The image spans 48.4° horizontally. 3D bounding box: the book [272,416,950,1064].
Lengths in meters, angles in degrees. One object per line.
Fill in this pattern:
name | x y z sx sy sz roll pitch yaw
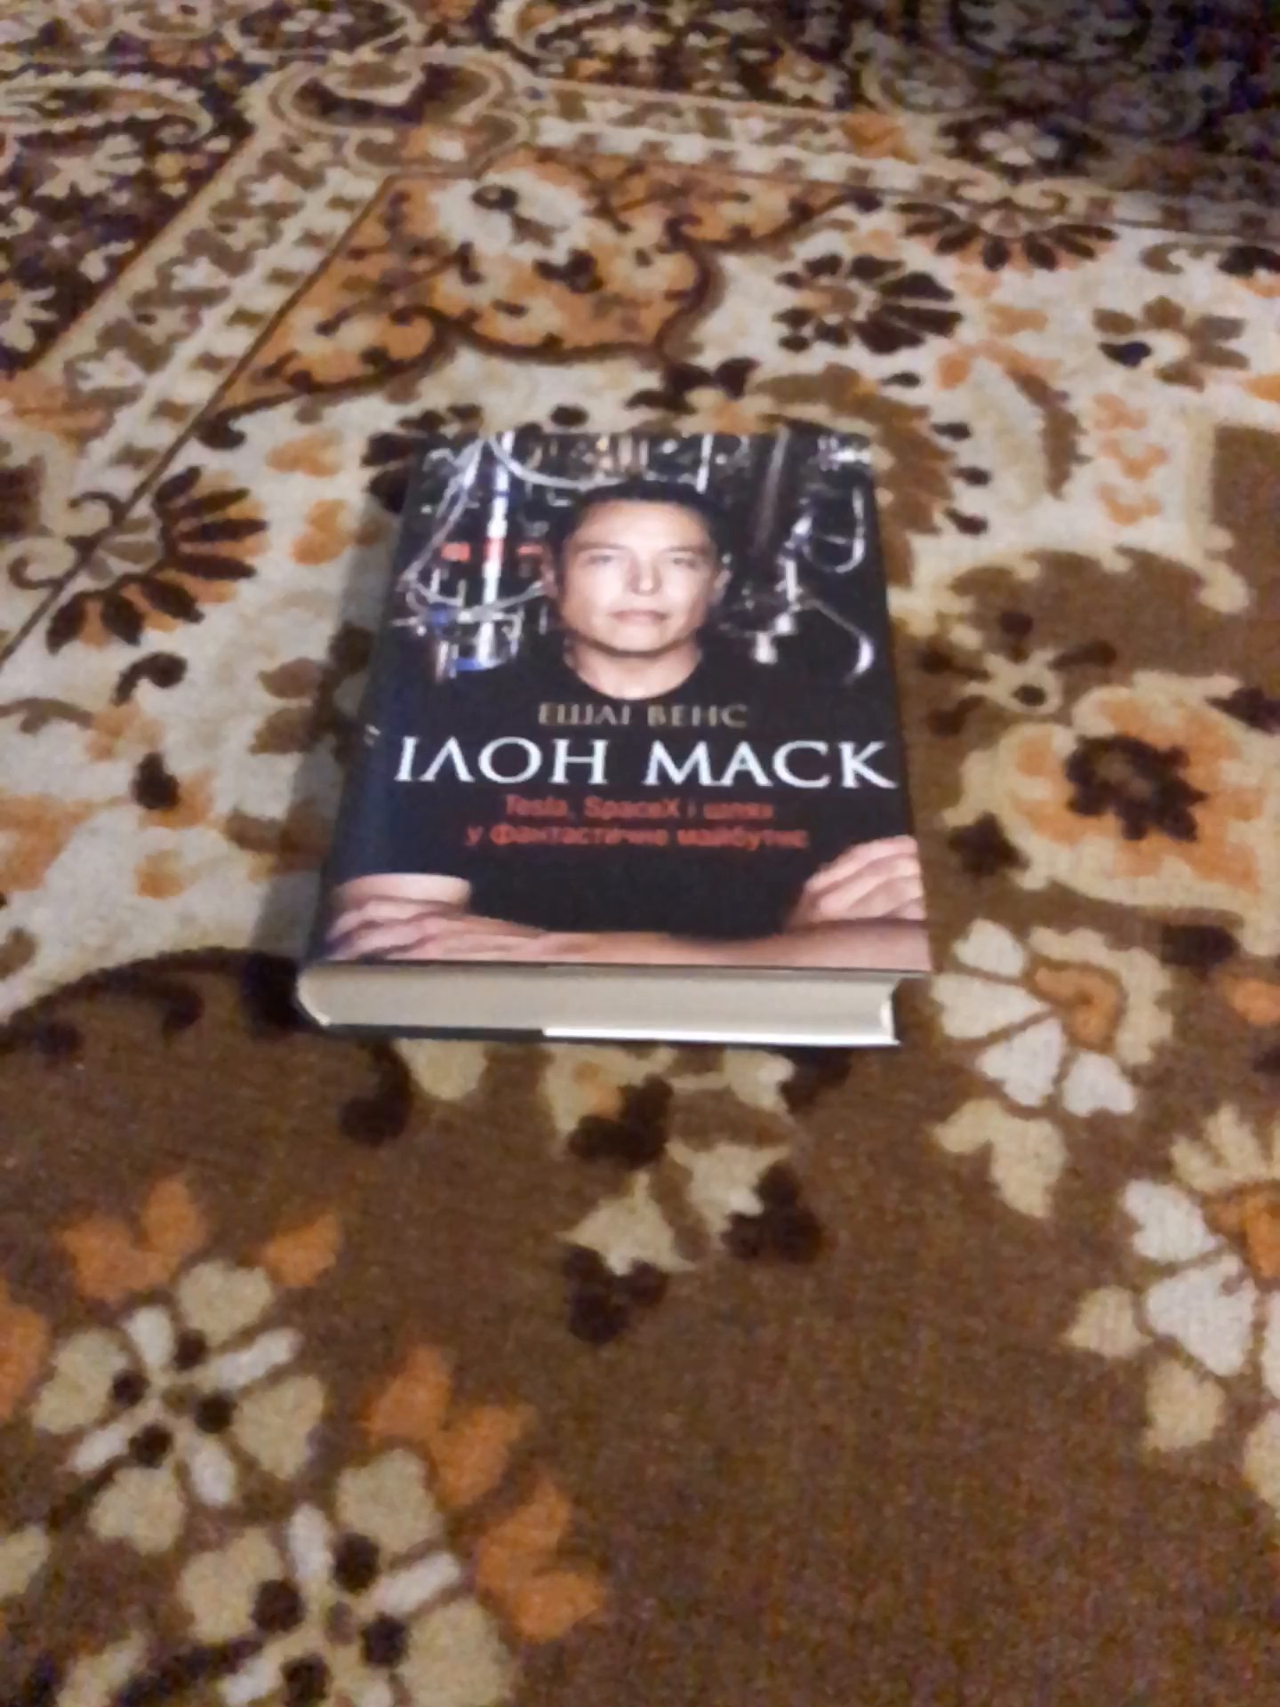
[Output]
book | -0.006 -0.052 0.485 0.184 0.050 0.251 1 51 0
